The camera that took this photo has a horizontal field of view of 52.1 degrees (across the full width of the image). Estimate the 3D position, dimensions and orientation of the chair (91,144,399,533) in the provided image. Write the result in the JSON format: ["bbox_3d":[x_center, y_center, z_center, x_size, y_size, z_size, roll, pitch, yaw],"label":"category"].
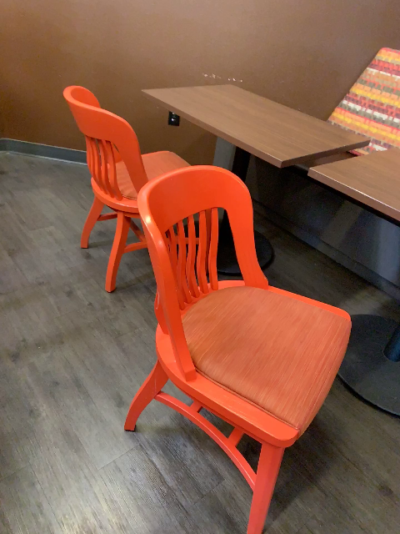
[{"bbox_3d":[0.113,0.188,1.170,0.581,0.806,0.562,25,38,21],"label":"chair"}]
